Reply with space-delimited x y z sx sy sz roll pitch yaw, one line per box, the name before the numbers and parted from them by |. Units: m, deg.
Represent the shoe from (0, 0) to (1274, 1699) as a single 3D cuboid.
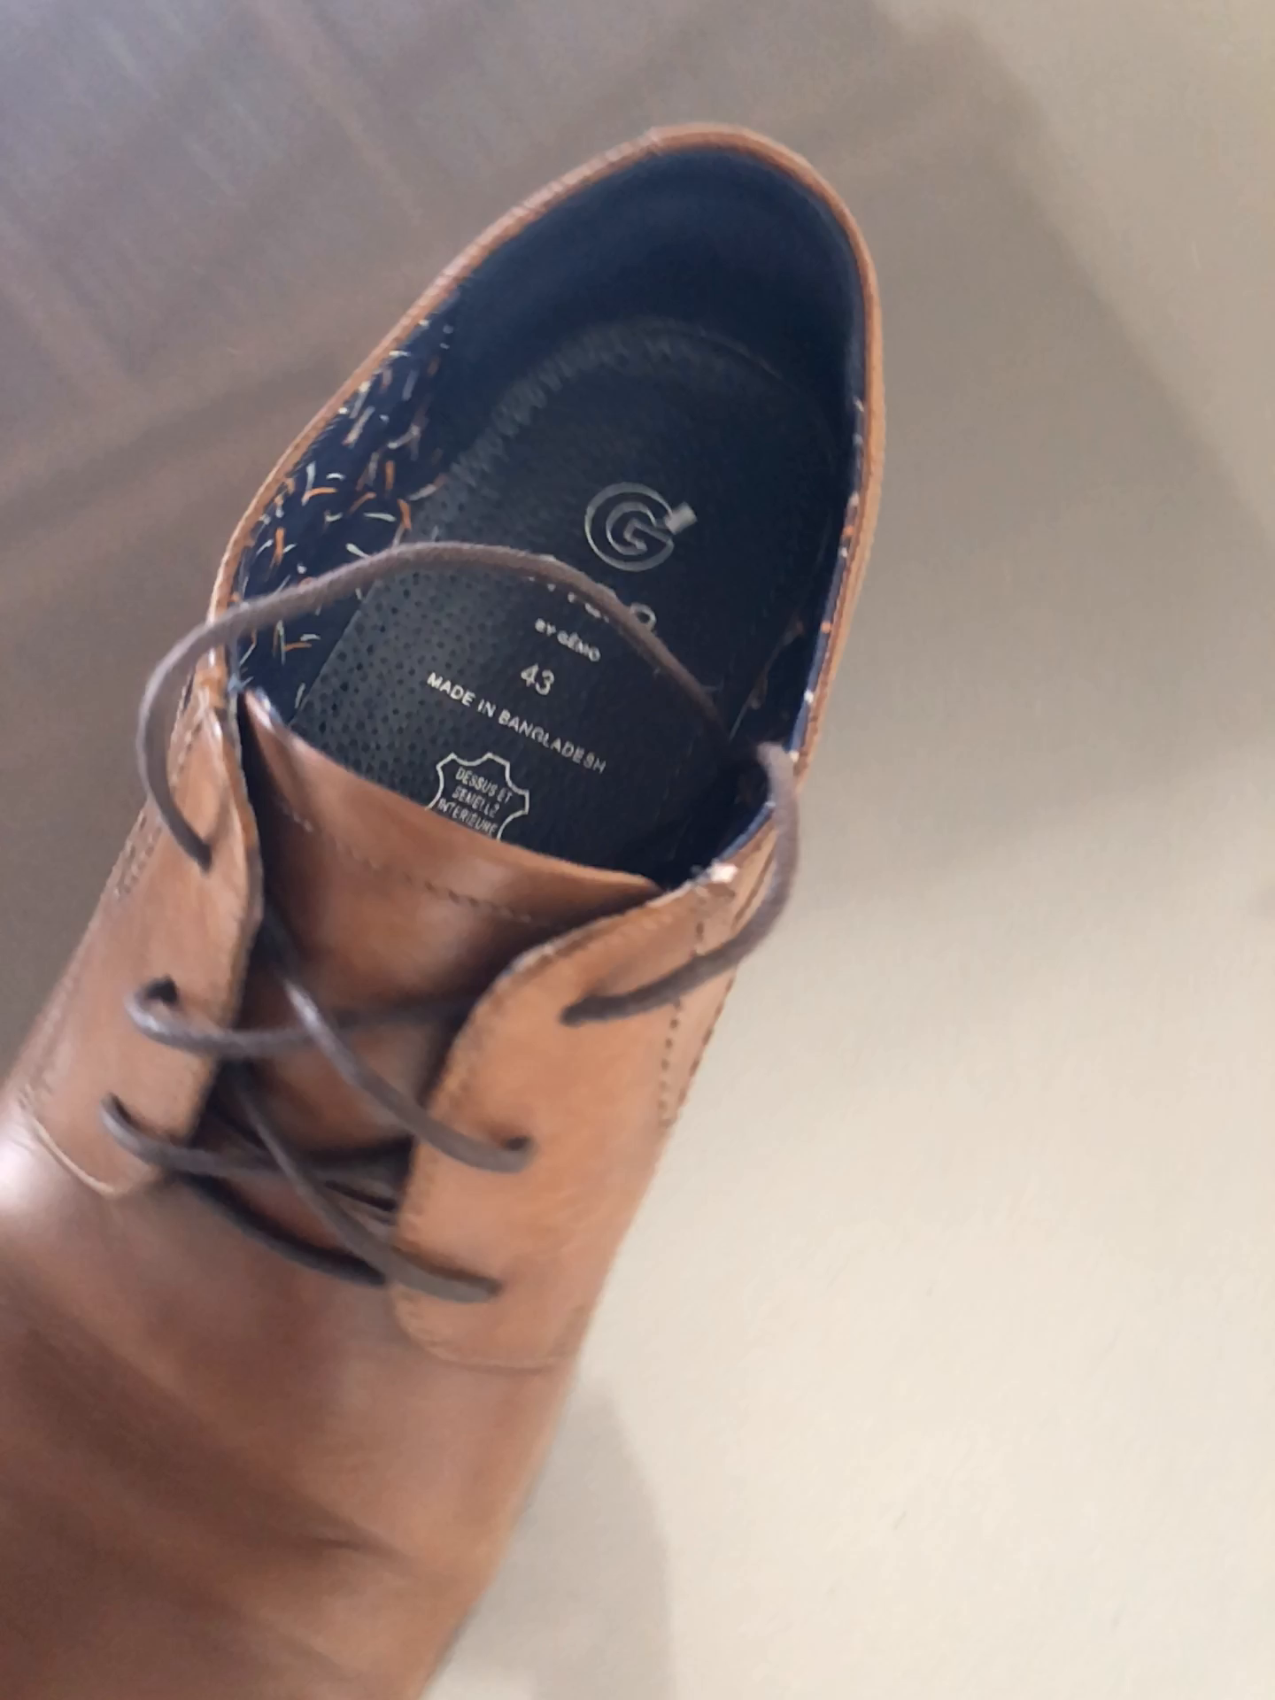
shoe | -0.039 0.021 0.198 0.130 0.090 0.341 25 70 13
